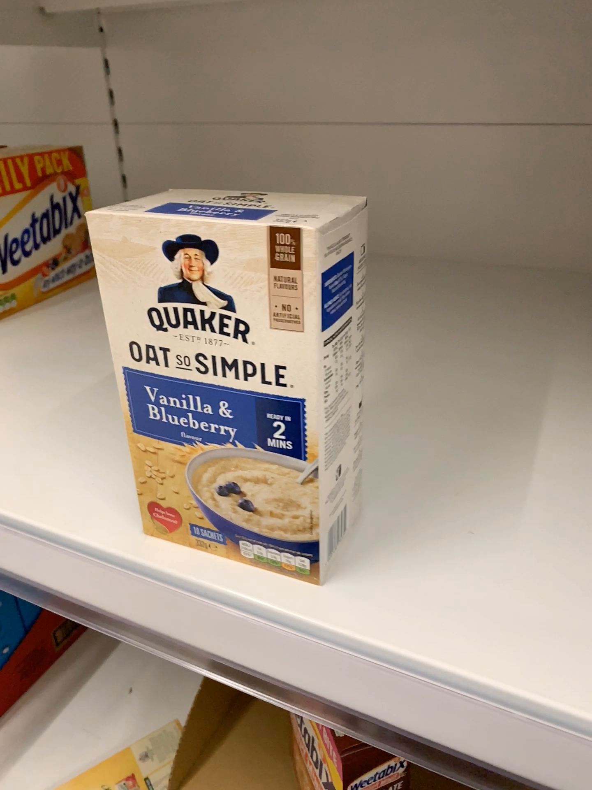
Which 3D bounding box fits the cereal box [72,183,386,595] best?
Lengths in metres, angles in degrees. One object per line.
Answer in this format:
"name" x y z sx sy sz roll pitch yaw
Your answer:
"cereal box" -0.030 -0.008 0.363 0.140 0.208 0.081 10 29 22
